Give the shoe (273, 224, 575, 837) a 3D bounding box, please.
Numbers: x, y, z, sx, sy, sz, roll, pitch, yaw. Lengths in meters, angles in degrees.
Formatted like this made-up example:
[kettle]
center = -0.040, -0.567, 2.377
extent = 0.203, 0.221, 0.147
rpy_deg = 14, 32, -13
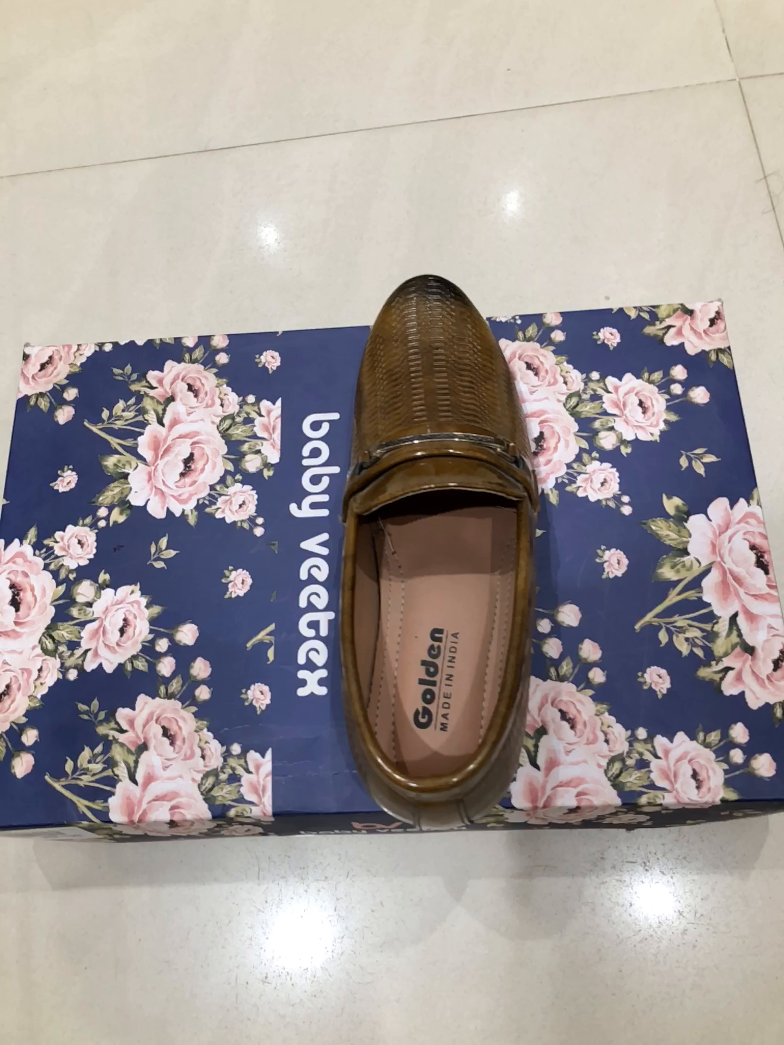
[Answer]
[shoe]
center = 0.008, 0.004, 0.328
extent = 0.090, 0.080, 0.210
rpy_deg = -4, 72, 4
